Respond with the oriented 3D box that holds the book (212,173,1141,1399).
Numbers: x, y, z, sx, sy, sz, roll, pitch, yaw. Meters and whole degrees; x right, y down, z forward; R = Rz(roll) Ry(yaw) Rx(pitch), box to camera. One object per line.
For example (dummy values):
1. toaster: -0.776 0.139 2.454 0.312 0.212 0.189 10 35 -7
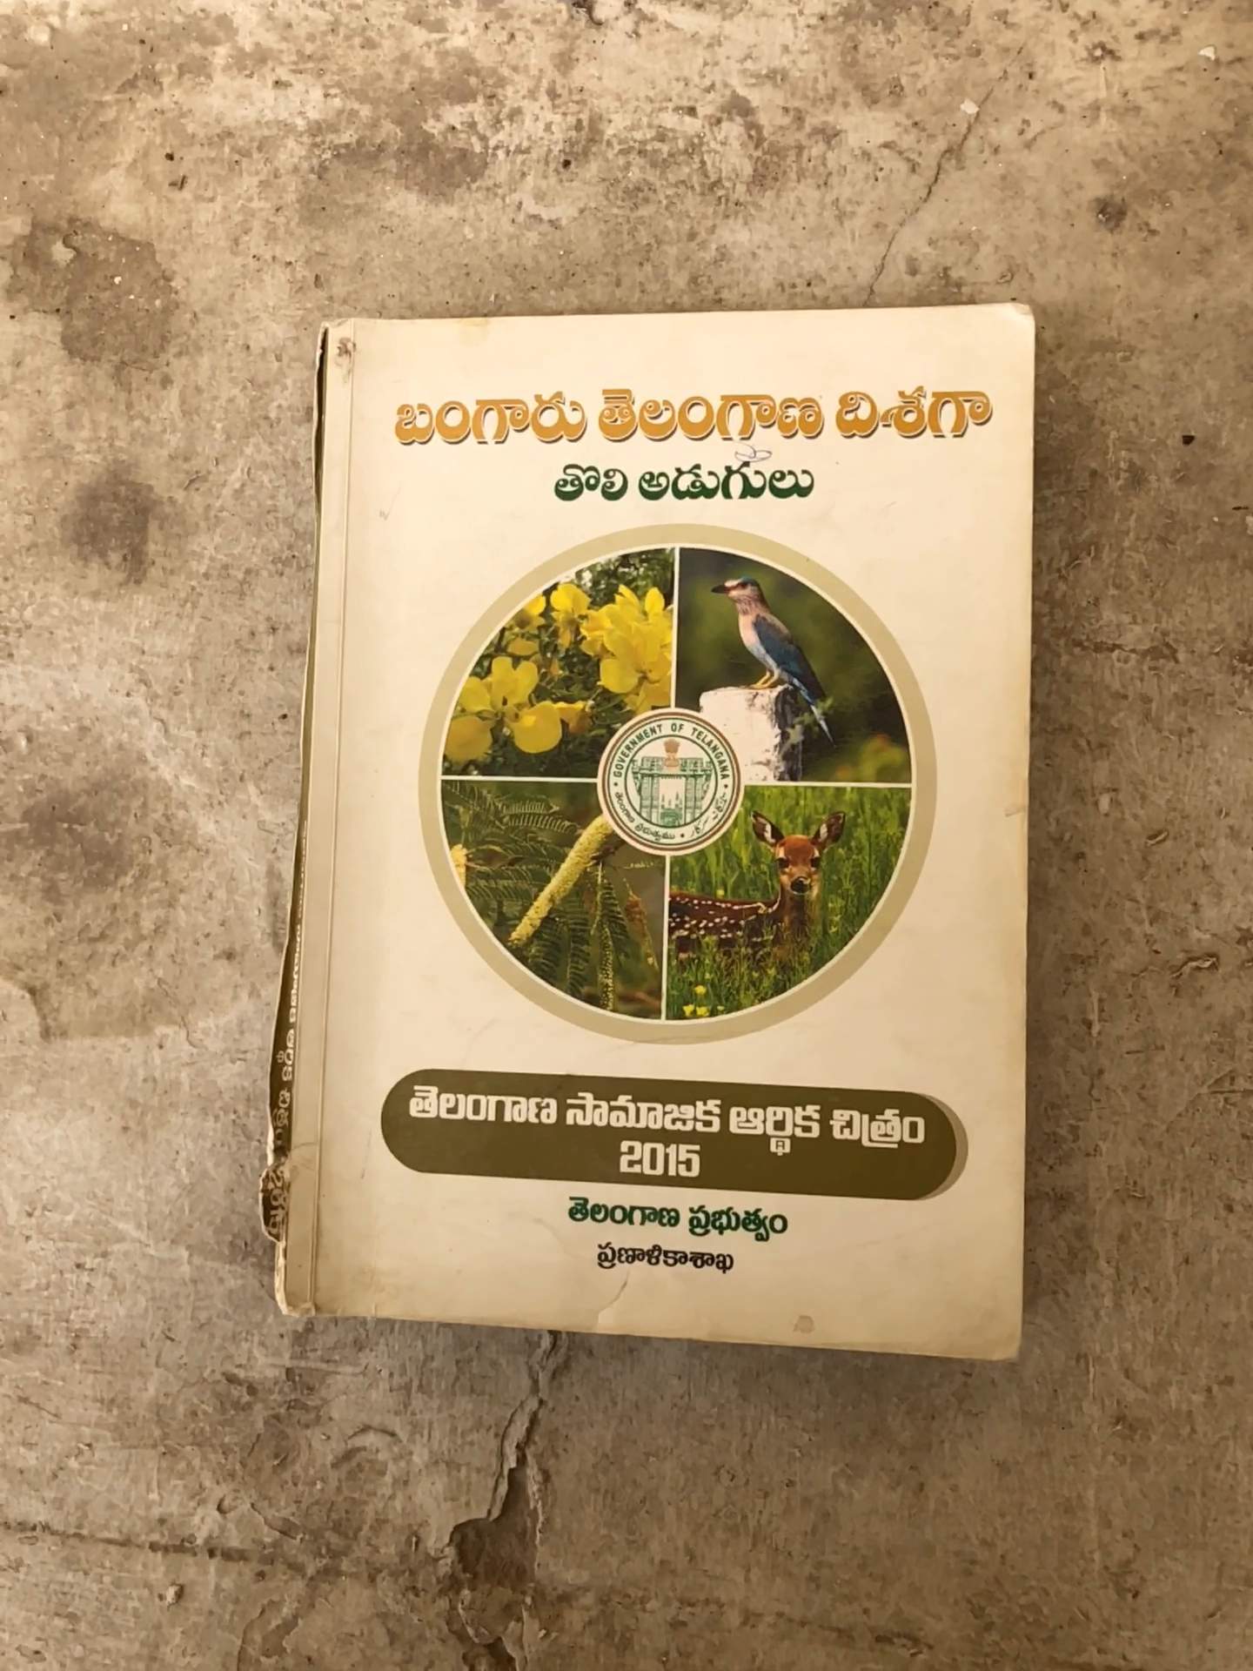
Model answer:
1. book: 0.014 -0.017 0.371 0.220 0.060 0.290 2 86 8
